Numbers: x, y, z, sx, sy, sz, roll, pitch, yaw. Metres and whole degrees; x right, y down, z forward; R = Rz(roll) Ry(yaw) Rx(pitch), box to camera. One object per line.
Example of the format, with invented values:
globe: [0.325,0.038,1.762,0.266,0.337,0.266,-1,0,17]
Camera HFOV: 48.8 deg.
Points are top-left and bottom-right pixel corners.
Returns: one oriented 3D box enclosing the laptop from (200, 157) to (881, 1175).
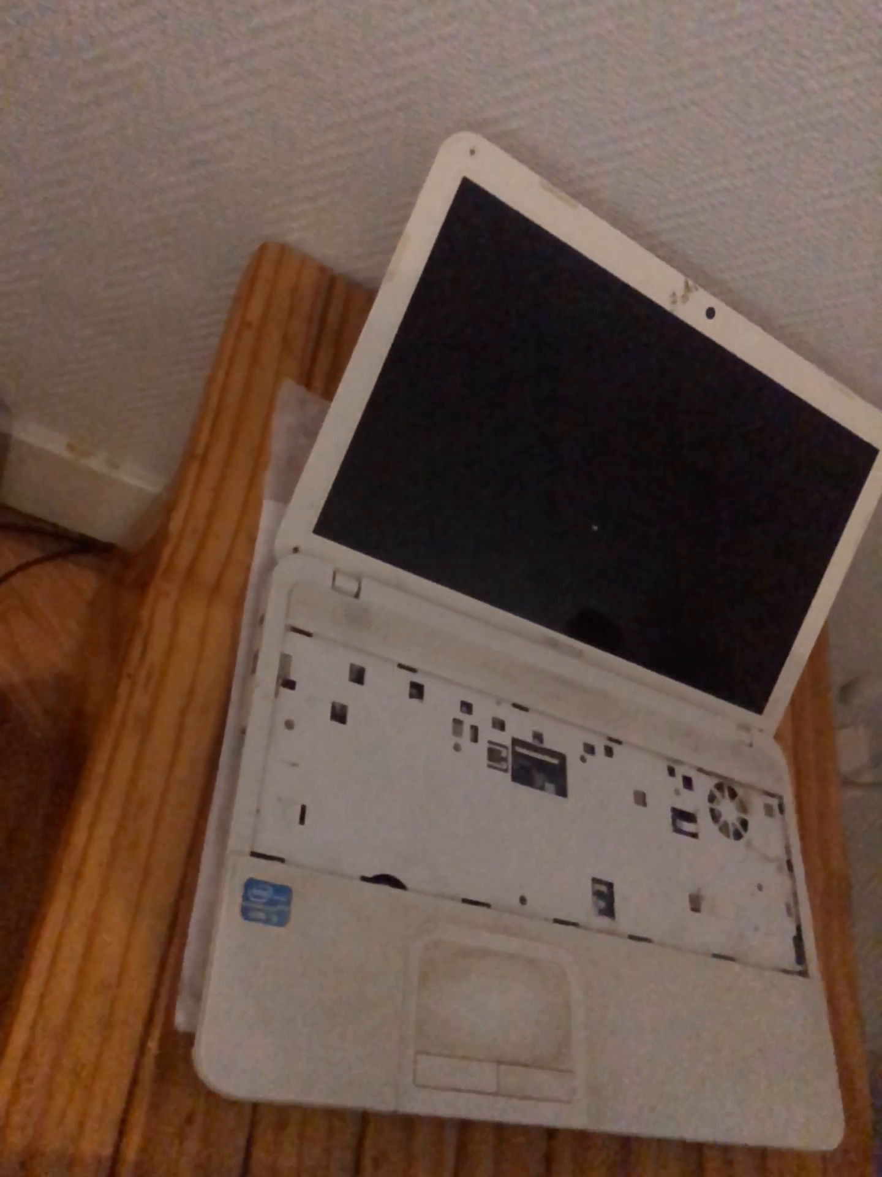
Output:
laptop: [0.110,0.044,0.506,0.372,0.118,0.419,23,53,-27]
